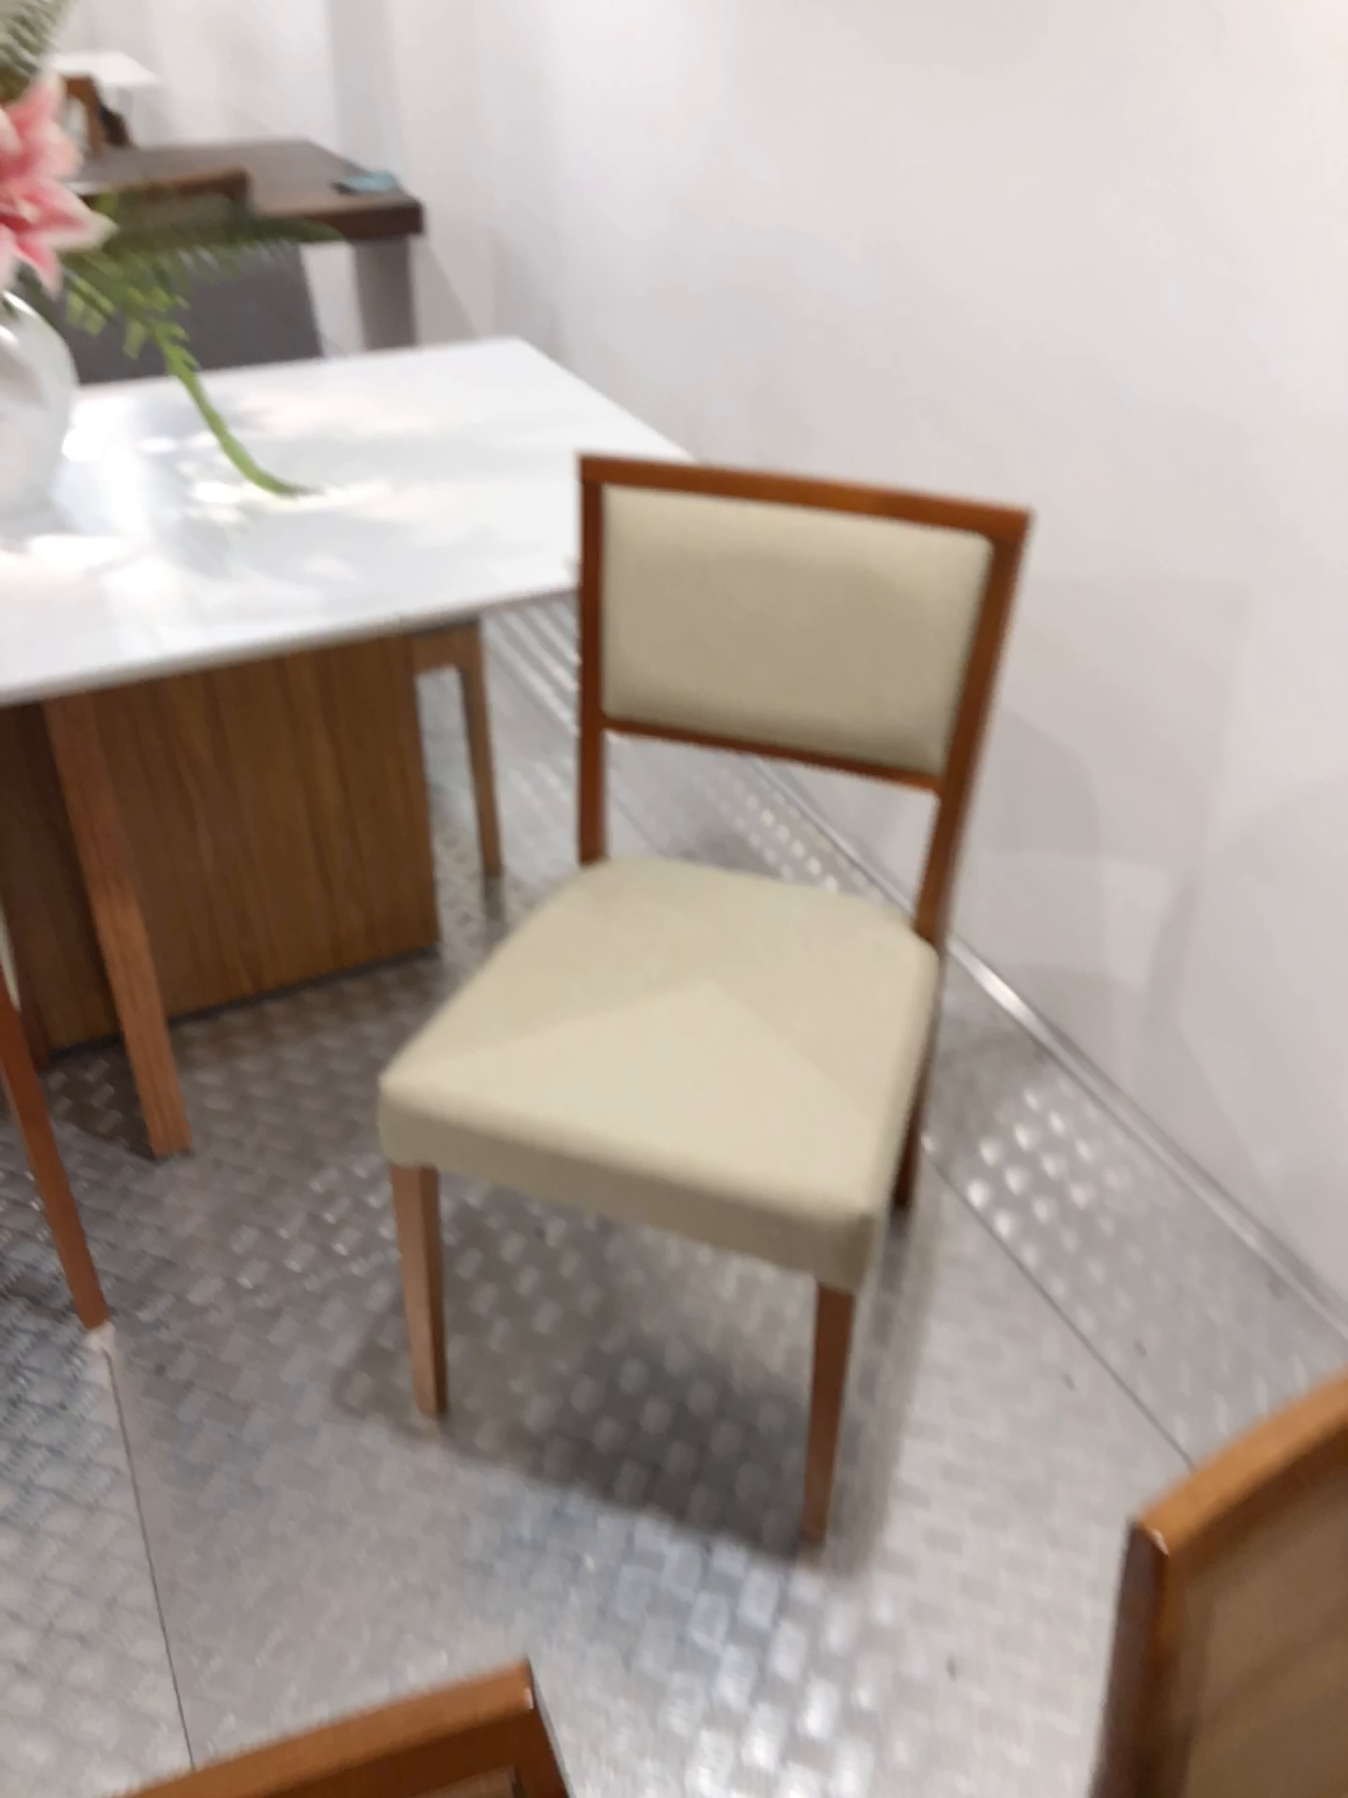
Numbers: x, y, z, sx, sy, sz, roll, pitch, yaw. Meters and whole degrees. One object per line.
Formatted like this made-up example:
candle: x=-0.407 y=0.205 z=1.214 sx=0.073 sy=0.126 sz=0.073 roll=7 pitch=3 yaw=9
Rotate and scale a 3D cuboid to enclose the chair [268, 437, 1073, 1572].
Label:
chair: x=0.038 y=0.087 z=1.560 sx=0.520 sy=0.893 sz=0.625 roll=12 pitch=36 yaw=16
